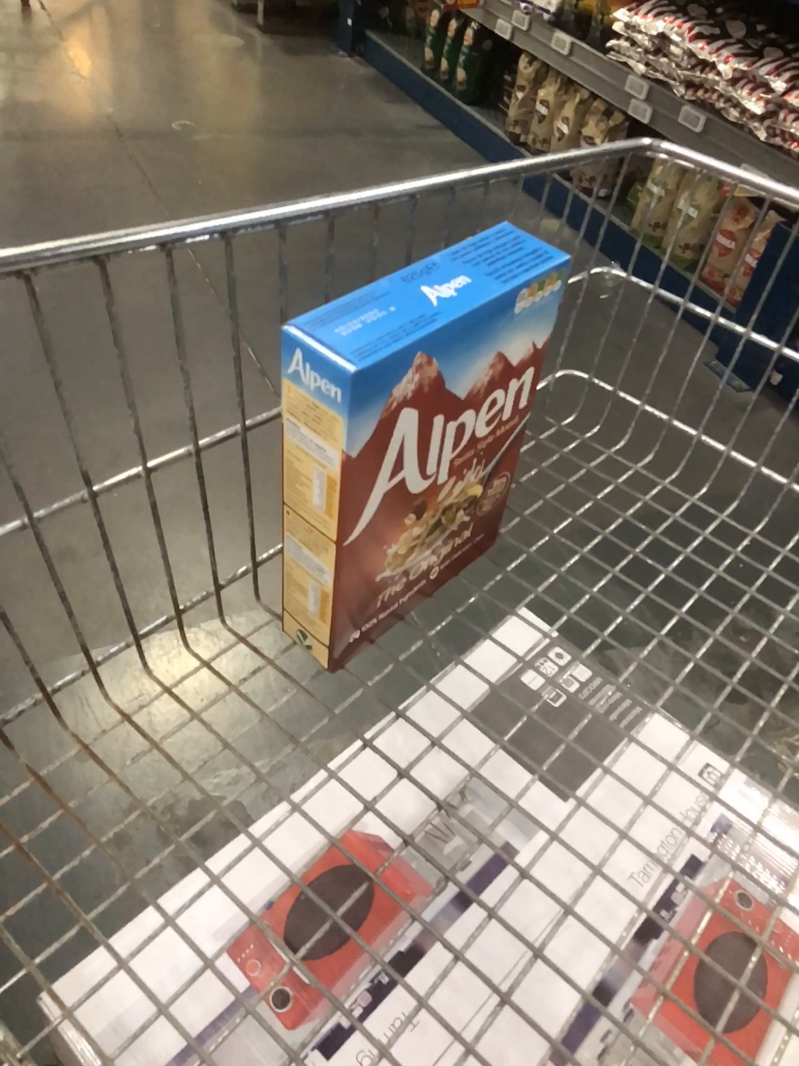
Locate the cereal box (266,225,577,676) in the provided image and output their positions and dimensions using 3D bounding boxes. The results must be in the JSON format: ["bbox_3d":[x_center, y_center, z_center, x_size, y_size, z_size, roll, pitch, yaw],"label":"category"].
[{"bbox_3d":[0.007,-0.048,0.535,0.060,0.219,0.181,35,49,25],"label":"cereal box"}]
